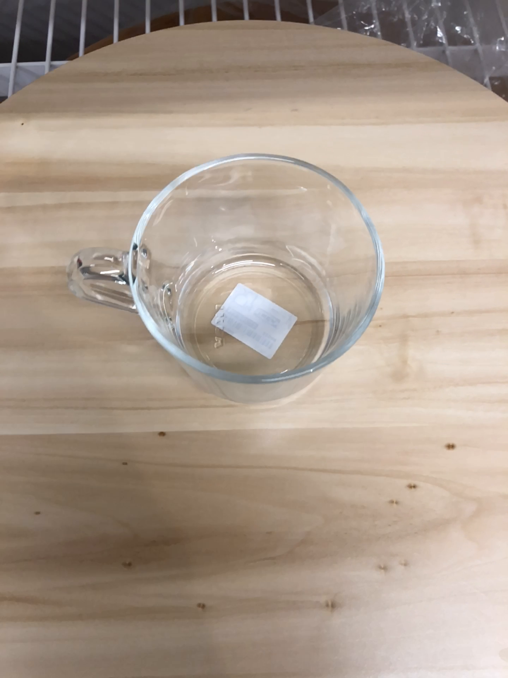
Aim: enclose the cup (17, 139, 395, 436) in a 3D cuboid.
[{"bbox_3d":[-0.012,-0.018,0.224,0.120,0.060,0.090,5,70,2],"label":"cup"}]
